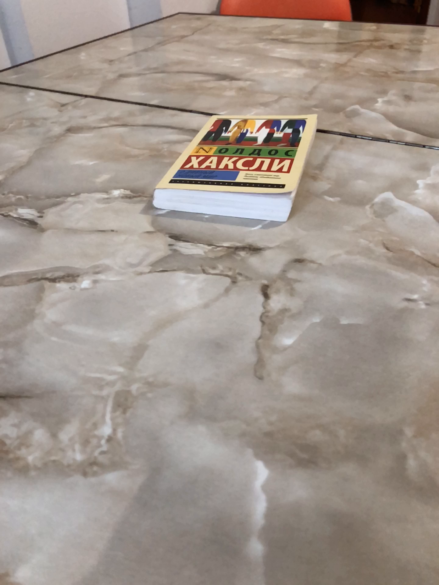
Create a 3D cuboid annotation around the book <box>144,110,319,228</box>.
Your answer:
[{"bbox_3d":[0.022,-0.126,0.458,0.120,0.028,0.185,8,40,14],"label":"book"}]
